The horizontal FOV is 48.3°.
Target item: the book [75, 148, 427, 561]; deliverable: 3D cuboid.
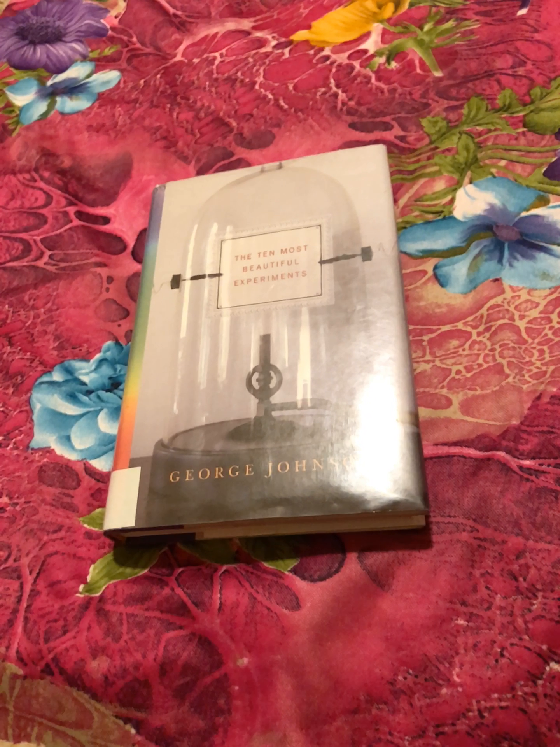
[{"bbox_3d":[-0.012,-0.018,0.305,0.140,0.030,0.200,-7,58,11],"label":"book"}]
